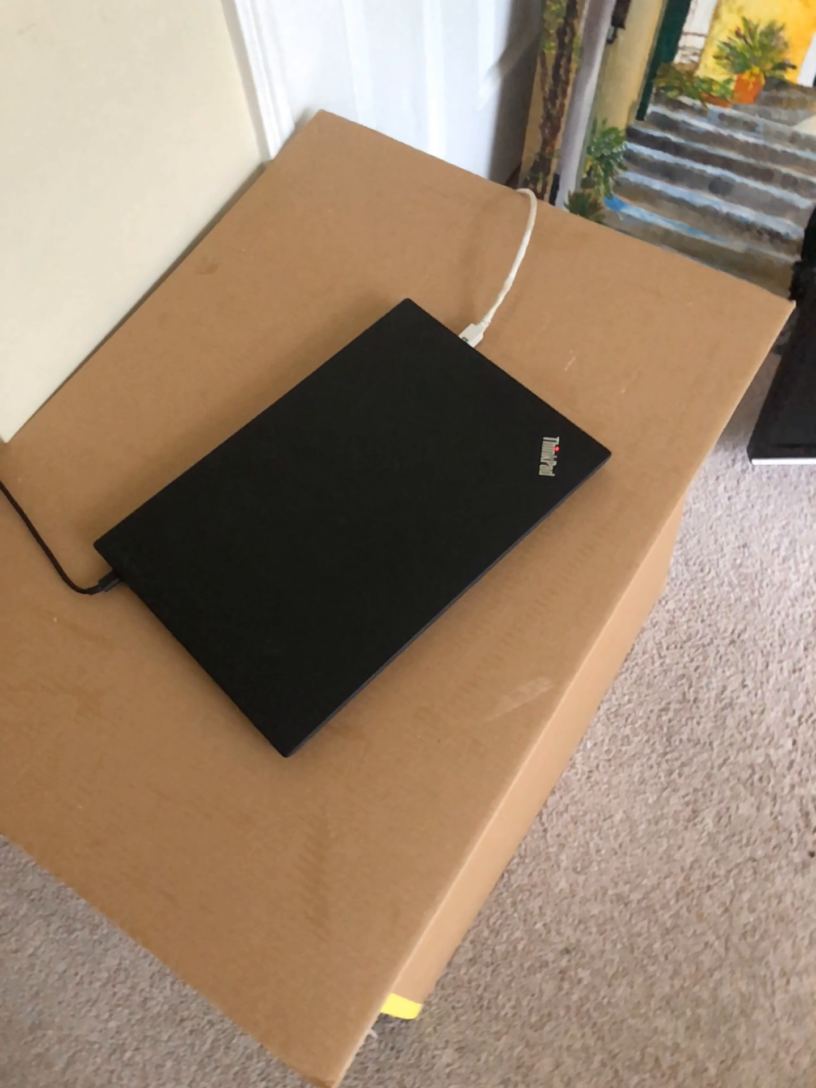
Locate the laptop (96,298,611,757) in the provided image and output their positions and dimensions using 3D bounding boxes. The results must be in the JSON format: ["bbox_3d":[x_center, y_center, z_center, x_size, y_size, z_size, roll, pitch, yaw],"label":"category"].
[{"bbox_3d":[-0.040,-0.035,0.676,0.328,0.002,0.225,-41,67,-17],"label":"laptop"}]
